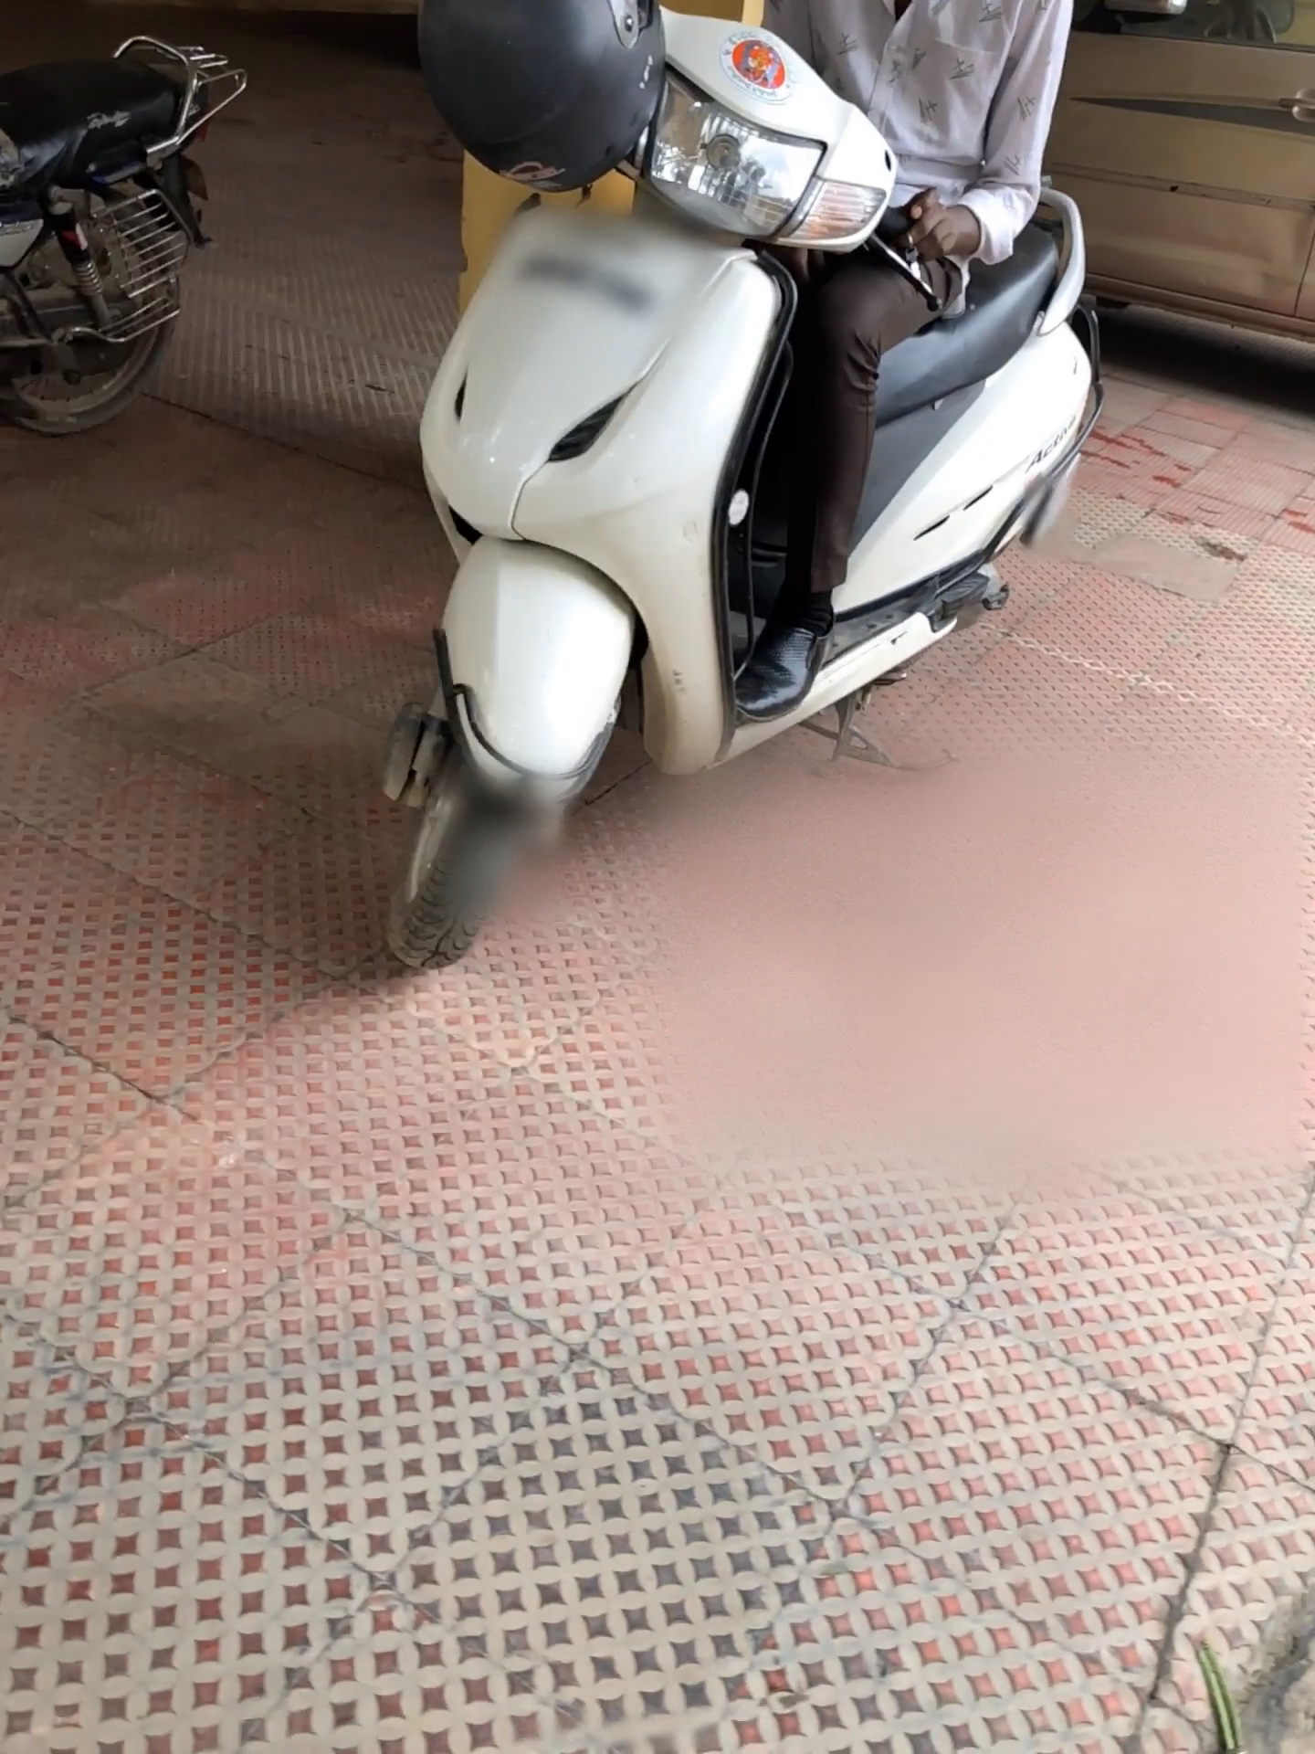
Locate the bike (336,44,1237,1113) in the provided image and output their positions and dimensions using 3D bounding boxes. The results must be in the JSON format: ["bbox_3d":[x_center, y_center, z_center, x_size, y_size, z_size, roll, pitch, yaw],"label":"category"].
[{"bbox_3d":[0.224,-0.590,2.264,0.657,1.107,1.398,24,38,23],"label":"bike"}]
